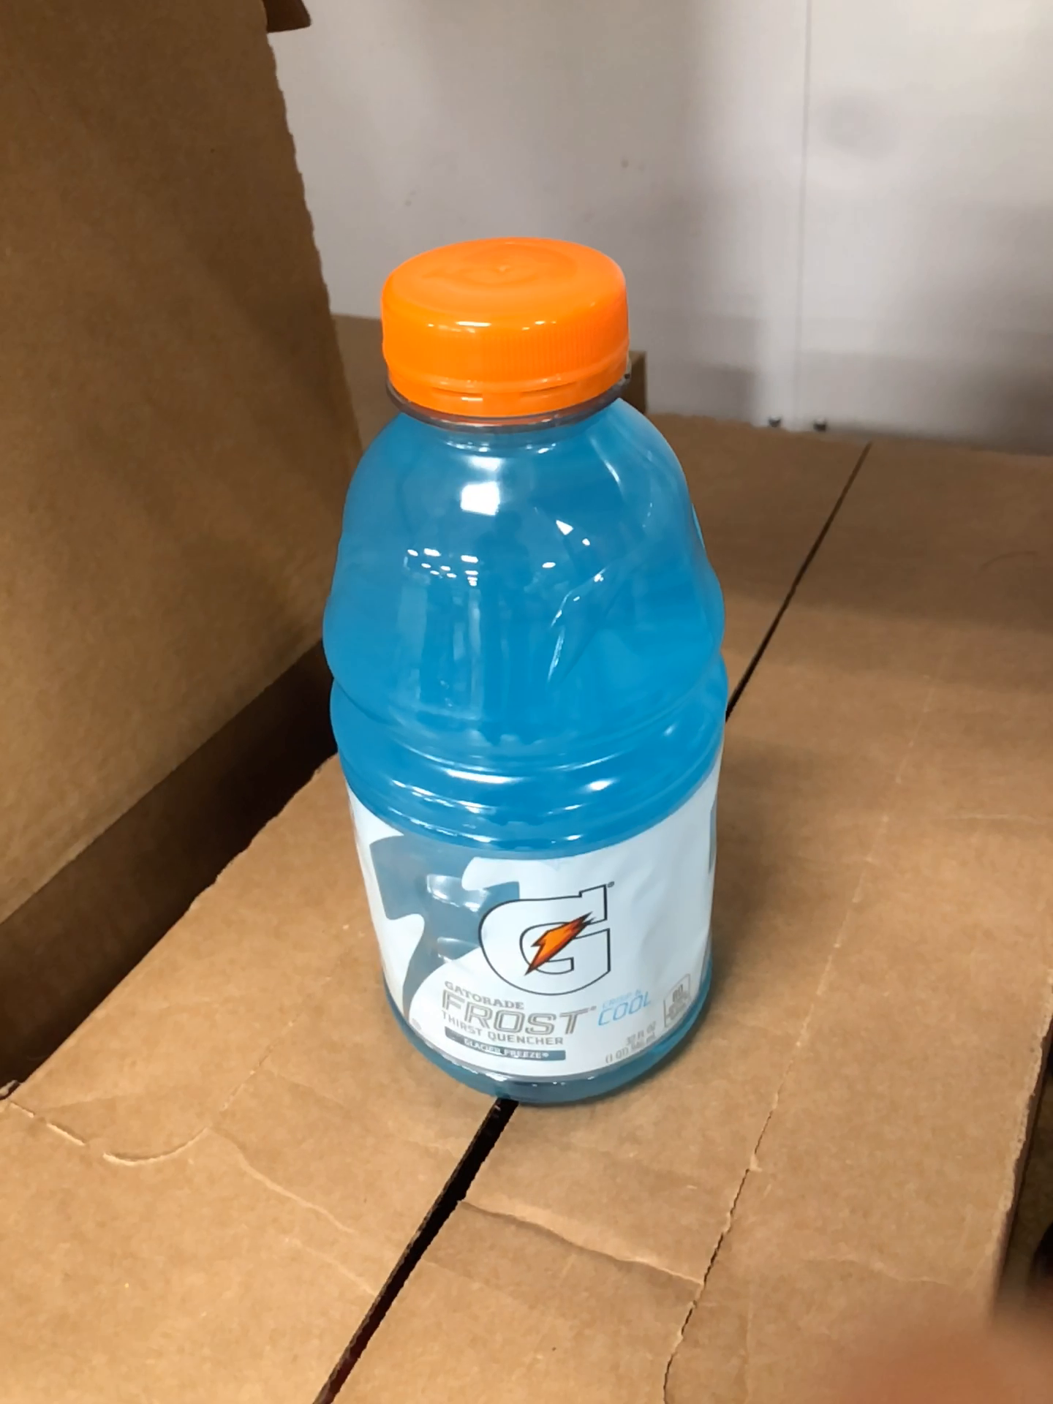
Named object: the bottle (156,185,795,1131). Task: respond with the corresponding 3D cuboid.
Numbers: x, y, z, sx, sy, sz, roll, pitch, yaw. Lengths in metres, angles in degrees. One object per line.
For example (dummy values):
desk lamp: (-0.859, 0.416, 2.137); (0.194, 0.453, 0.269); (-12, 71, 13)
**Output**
bottle: (-0.002, 0.000, 0.279); (0.100, 0.200, 0.090); (-6, 38, 0)
